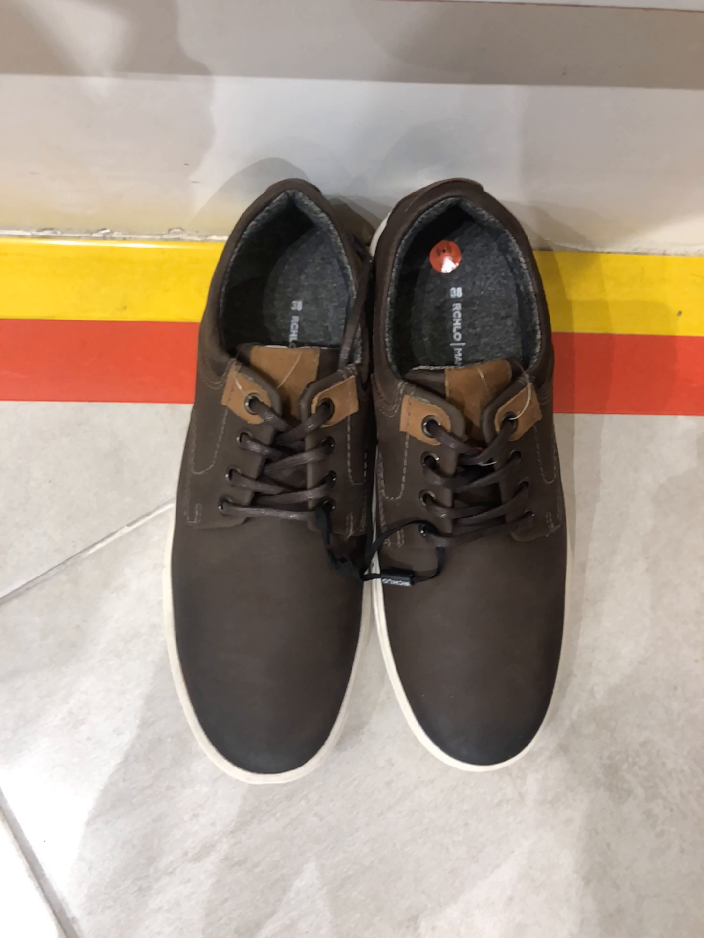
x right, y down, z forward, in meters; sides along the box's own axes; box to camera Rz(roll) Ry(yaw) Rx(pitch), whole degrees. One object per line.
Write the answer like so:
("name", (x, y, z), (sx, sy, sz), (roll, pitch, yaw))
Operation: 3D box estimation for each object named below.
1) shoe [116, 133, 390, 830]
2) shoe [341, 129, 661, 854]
("shoe", (-0.039, 0.005, 0.355), (0.100, 0.100, 0.270), (1, 89, -1))
("shoe", (0.058, 0.008, 0.348), (0.100, 0.100, 0.270), (-5, 92, -2))
